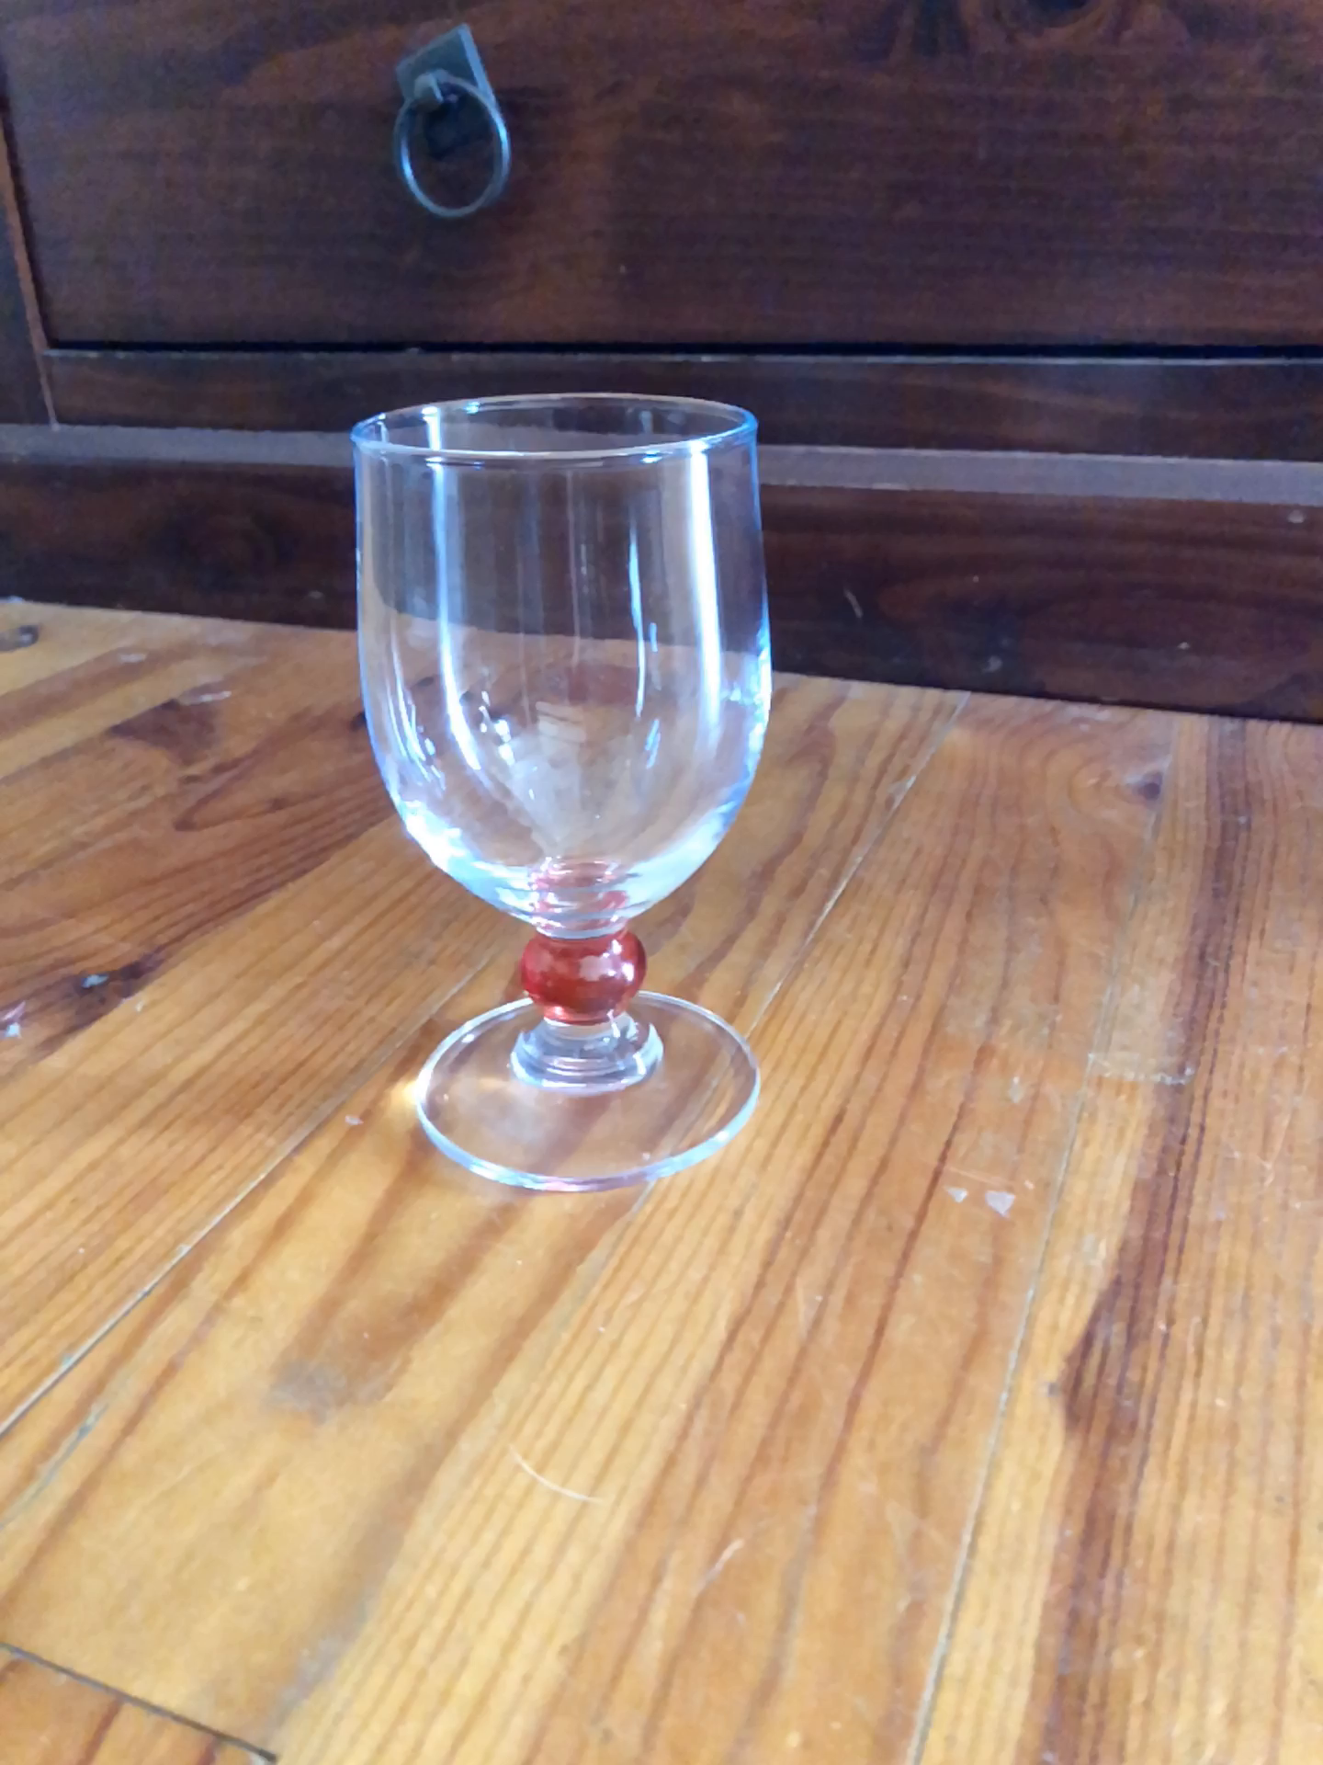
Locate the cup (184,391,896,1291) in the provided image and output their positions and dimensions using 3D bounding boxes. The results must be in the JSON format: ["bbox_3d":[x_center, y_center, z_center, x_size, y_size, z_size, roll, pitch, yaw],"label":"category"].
[{"bbox_3d":[-0.015,-0.016,0.275,0.083,0.132,0.088,-2,24,1],"label":"cup"}]
